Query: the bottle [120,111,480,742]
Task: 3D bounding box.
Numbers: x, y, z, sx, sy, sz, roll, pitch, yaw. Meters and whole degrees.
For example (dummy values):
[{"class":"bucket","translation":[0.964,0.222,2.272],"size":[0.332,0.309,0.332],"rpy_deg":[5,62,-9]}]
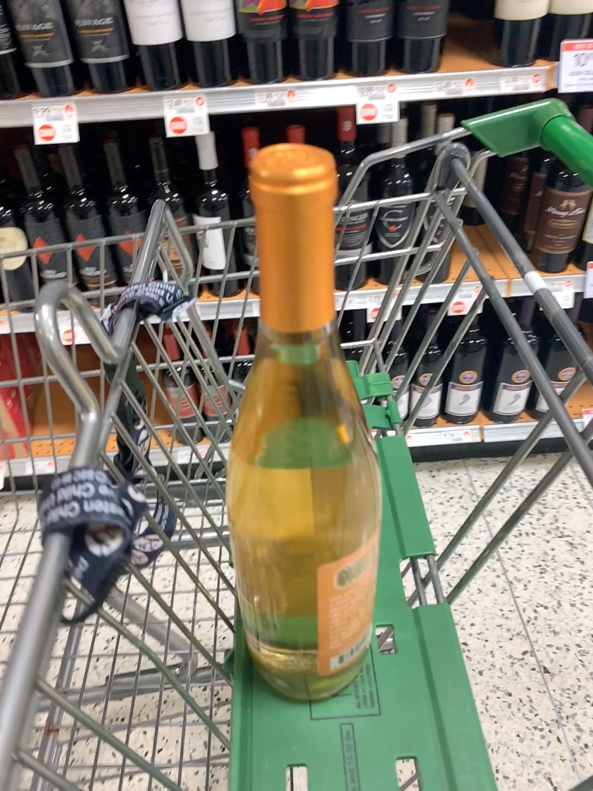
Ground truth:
[{"class":"bottle","translation":[0.009,0.038,0.292],"size":[0.084,0.297,0.087],"rpy_deg":[-2,38,1]}]
